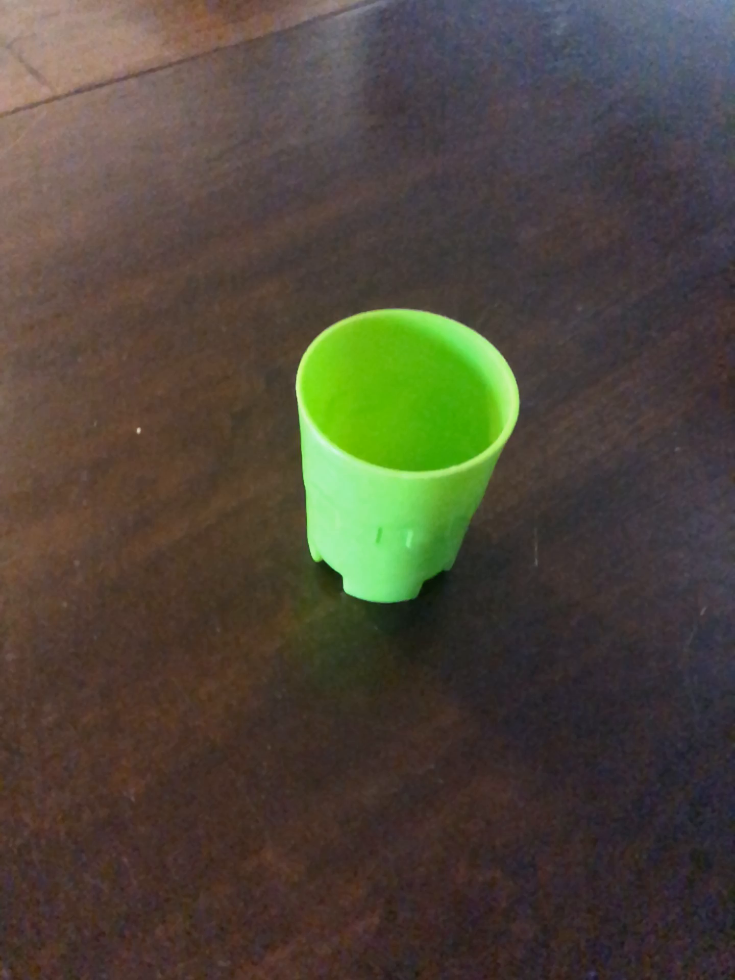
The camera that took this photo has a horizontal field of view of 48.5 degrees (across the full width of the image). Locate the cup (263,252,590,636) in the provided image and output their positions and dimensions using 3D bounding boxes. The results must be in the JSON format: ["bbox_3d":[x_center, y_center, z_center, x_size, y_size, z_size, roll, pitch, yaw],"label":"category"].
[{"bbox_3d":[0.012,-0.013,0.269,0.070,0.090,0.070,2,54,-3],"label":"cup"}]
